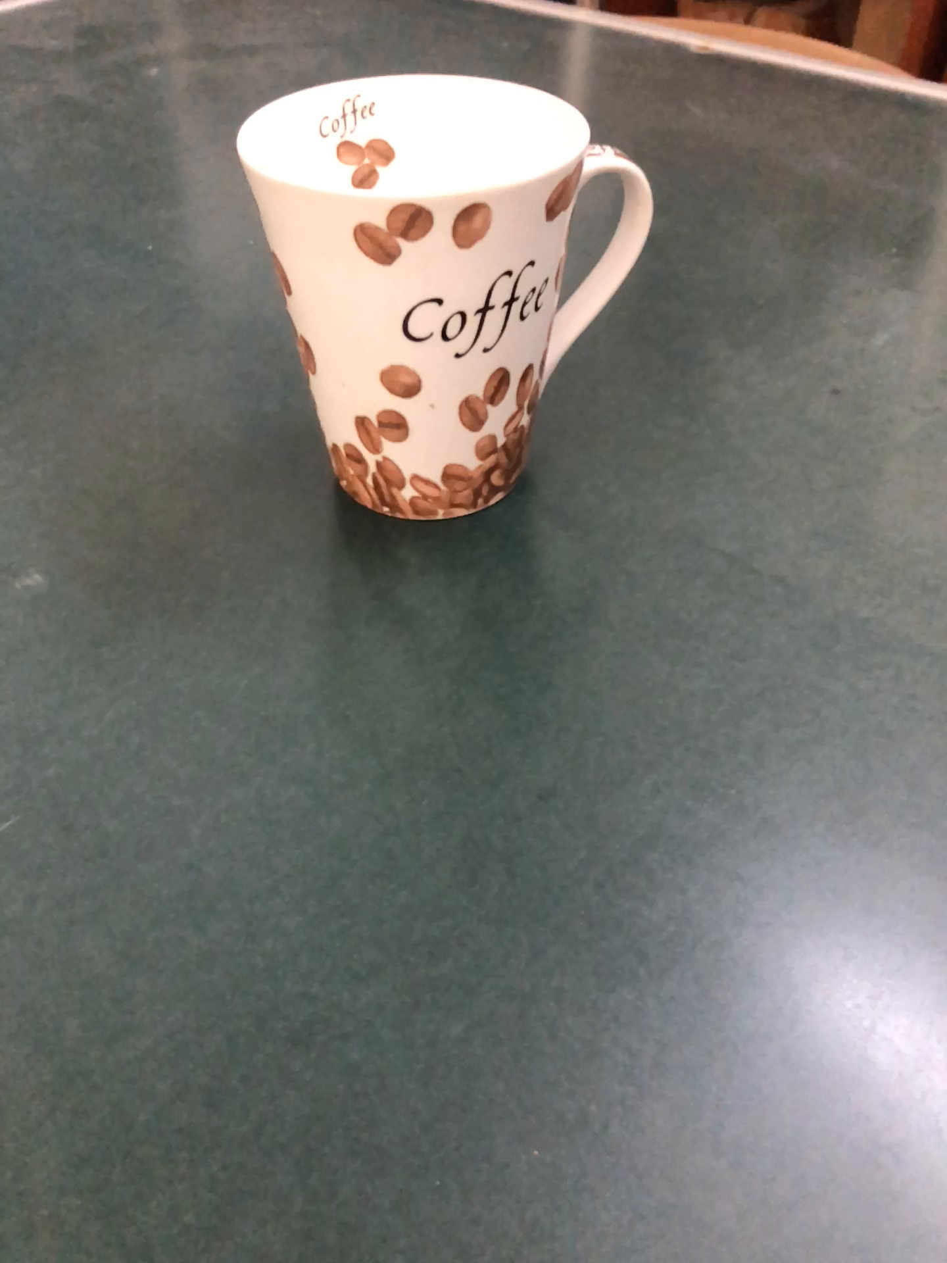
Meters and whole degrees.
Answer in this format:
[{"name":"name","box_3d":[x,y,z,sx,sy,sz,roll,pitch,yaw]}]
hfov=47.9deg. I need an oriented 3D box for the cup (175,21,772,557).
[{"name":"cup","box_3d":[-0.004,-0.100,0.297,0.120,0.090,0.100,-17,45,-15]}]
